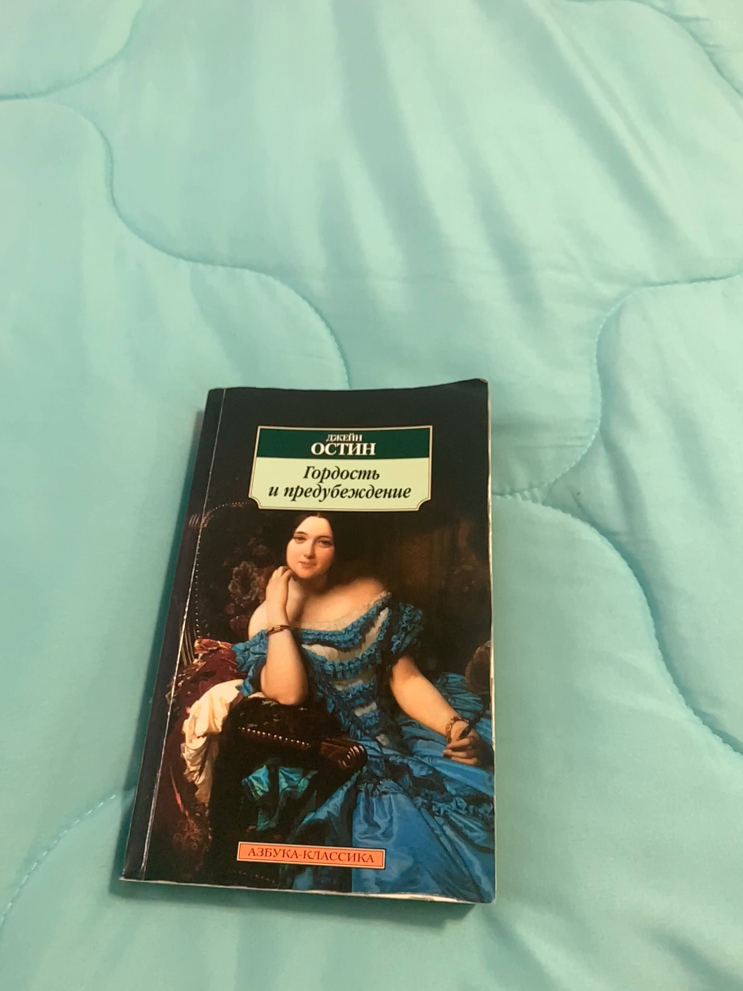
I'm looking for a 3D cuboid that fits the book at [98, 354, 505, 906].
[{"bbox_3d":[-0.014,0.039,0.266,0.110,0.044,0.173,4,64,-1],"label":"book"}]
